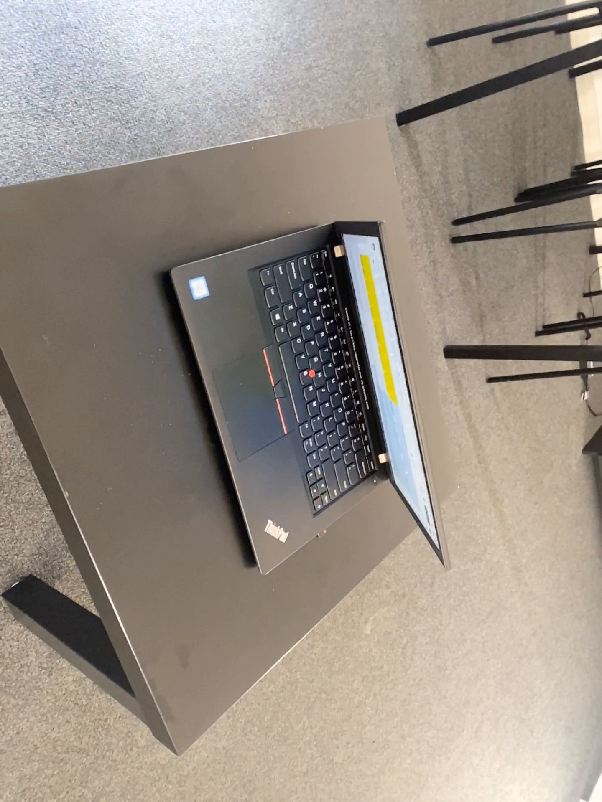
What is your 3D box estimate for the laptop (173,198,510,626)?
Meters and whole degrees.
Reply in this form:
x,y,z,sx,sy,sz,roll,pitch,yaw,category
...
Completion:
x,y,z,sx,sy,sz,roll,pitch,yaw,category
0.057,-0.001,0.620,0.224,0.165,0.332,-29,113,-38,laptop
